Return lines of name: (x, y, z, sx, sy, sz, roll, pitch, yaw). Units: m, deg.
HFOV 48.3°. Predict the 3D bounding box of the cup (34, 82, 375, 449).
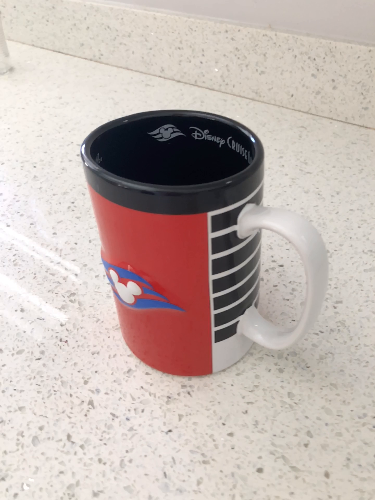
cup: (0.010, -0.003, 0.210, 0.130, 0.110, 0.090, 30, 48, 31)
